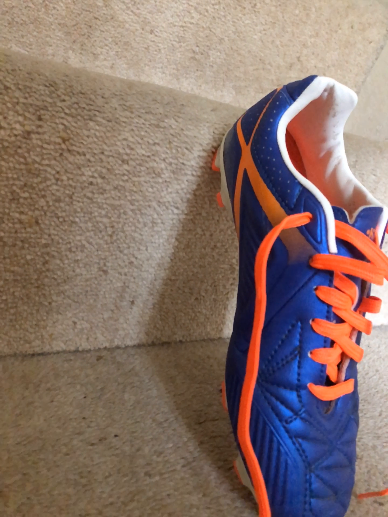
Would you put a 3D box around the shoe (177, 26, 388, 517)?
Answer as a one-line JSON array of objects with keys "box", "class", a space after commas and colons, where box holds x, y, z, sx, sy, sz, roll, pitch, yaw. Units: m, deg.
[{"box": [0.049, 0.010, 0.224, 0.070, 0.211, 0.099, 8, -21, -29], "class": "shoe"}]
